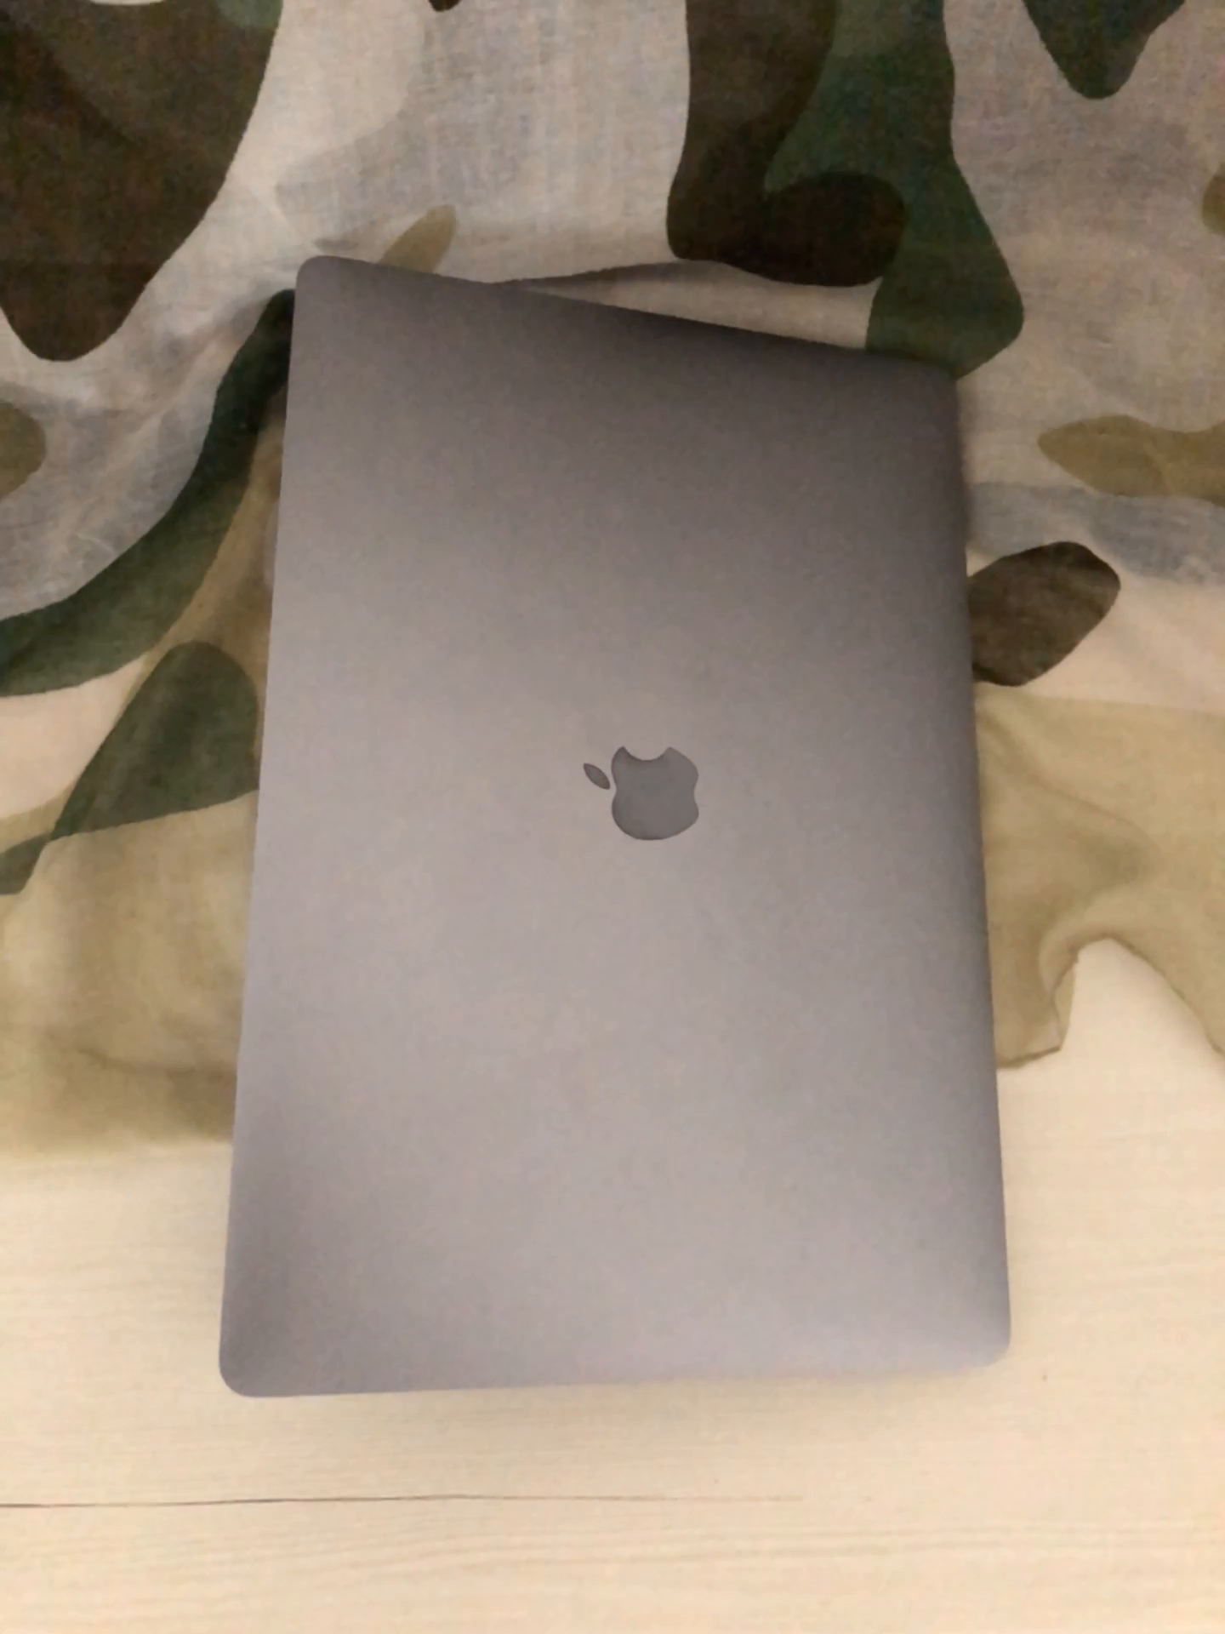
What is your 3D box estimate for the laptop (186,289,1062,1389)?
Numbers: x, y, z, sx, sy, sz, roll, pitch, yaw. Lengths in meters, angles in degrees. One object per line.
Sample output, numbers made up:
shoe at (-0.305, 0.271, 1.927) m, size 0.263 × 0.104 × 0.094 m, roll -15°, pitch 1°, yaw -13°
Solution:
laptop at (0.007, -0.003, 0.438) m, size 0.236 × 0.059 × 0.339 m, roll 1°, pitch 75°, yaw -1°
